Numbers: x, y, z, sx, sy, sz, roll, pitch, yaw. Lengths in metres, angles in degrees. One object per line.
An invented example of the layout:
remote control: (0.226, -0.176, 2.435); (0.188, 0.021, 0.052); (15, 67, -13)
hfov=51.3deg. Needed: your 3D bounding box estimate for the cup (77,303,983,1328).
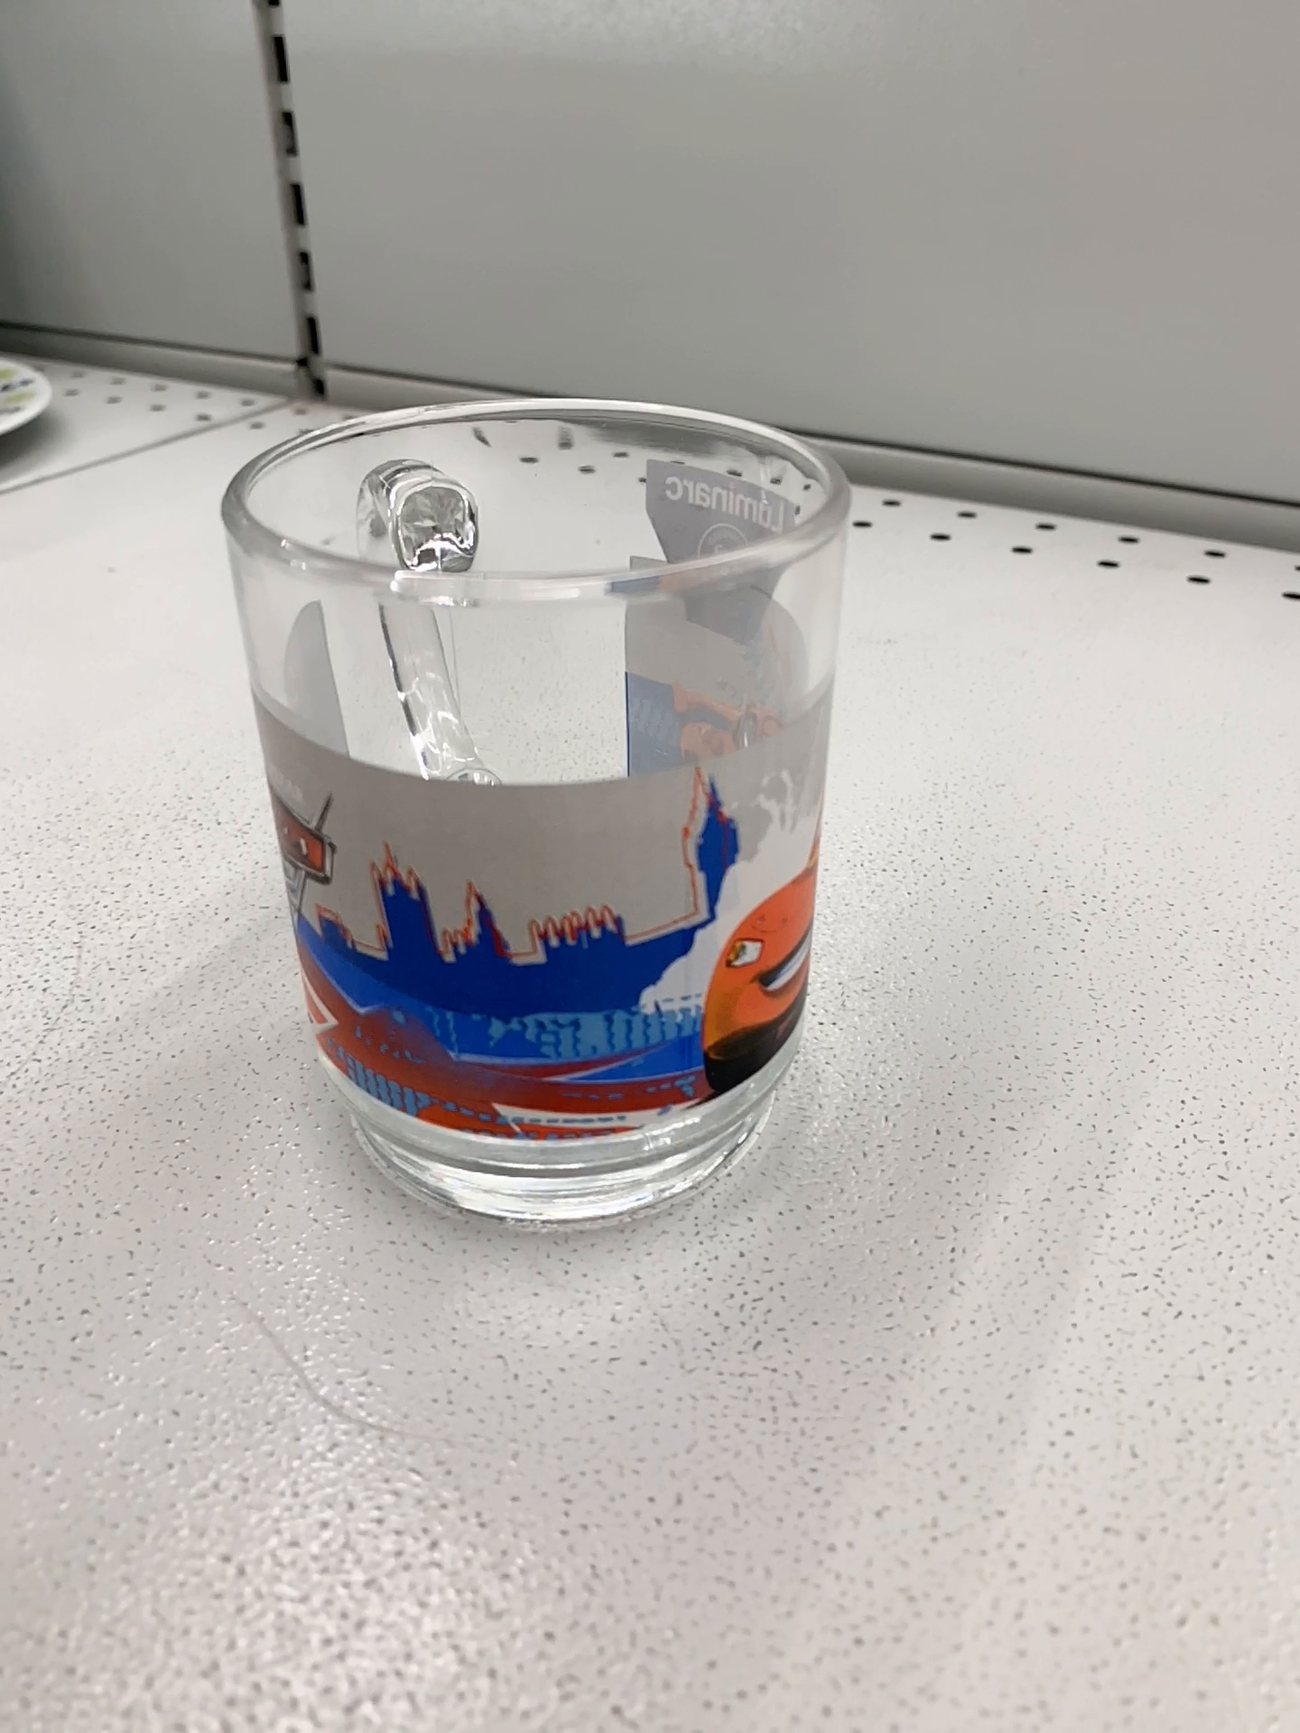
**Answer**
cup: (-0.023, -0.019, 0.185); (0.071, 0.087, 0.108); (-16, 35, -23)
